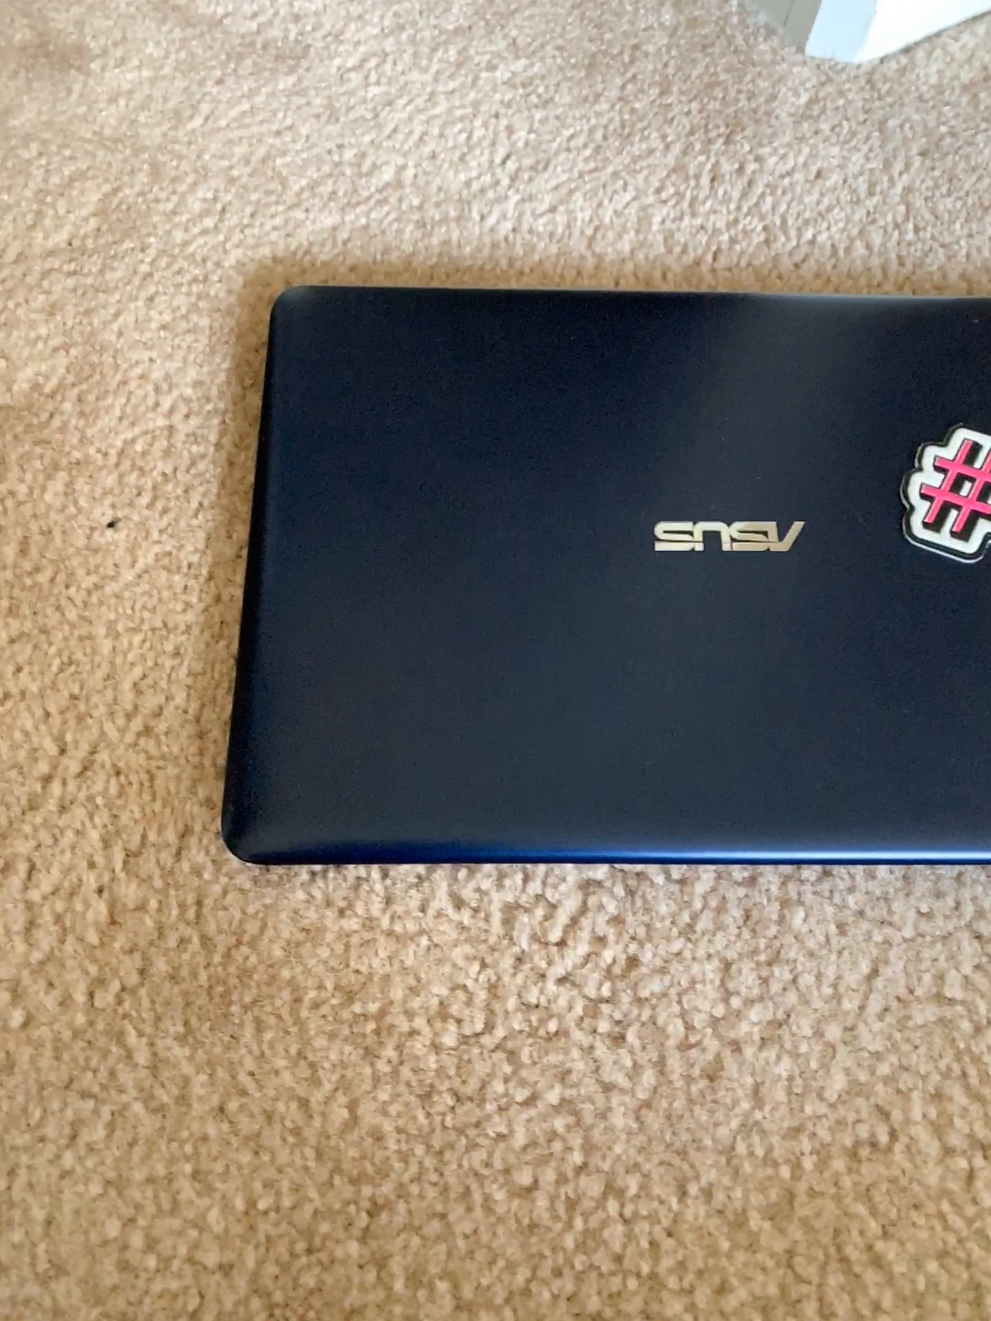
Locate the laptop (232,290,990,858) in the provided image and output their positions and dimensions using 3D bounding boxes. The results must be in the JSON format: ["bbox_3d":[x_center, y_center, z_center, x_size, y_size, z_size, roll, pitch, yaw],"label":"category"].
[{"bbox_3d":[0.066,-0.033,0.306,0.271,0.006,0.182,0,69,-2],"label":"laptop"}]
